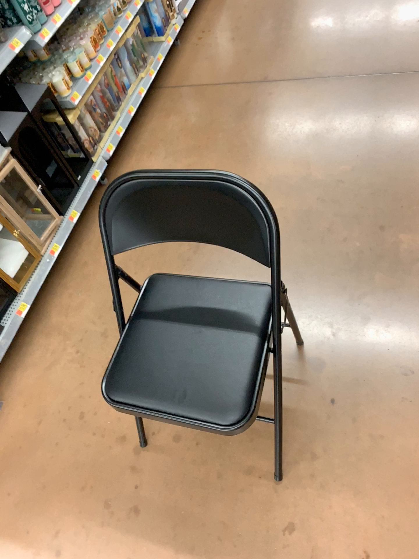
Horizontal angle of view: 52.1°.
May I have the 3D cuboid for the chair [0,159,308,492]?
[{"bbox_3d":[-0.057,0.145,1.028,0.471,0.697,0.471,5,59,20],"label":"chair"}]
